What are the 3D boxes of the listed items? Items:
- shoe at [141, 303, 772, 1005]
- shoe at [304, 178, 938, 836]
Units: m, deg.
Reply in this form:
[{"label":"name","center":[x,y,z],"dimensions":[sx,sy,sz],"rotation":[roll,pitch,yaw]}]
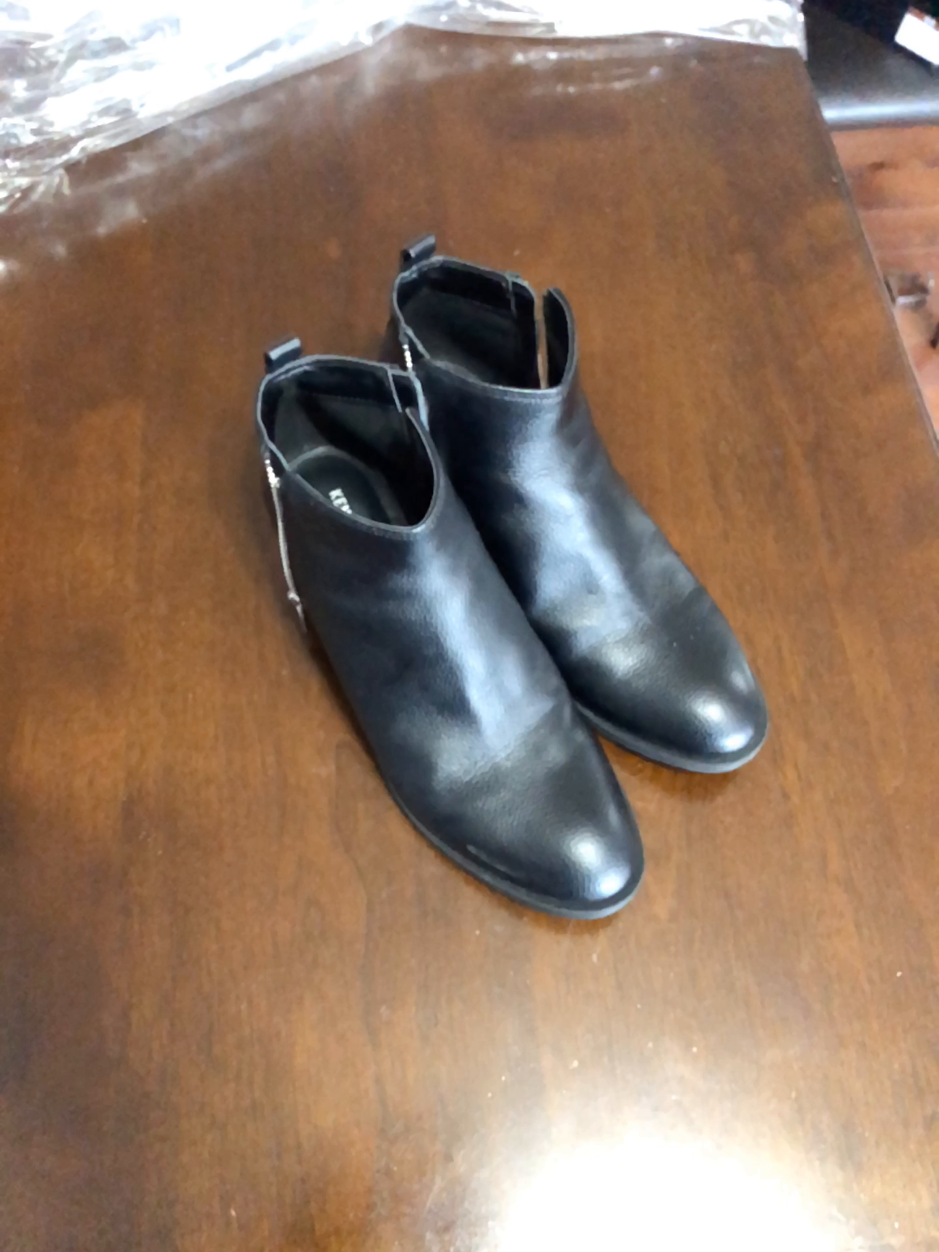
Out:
[{"label":"shoe","center":[-0.015,0.012,0.446],"dimensions":[0.100,0.130,0.260],"rotation":[-33,69,-16]},{"label":"shoe","center":[0.050,-0.053,0.471],"dimensions":[0.100,0.130,0.260],"rotation":[-36,70,-17]}]
